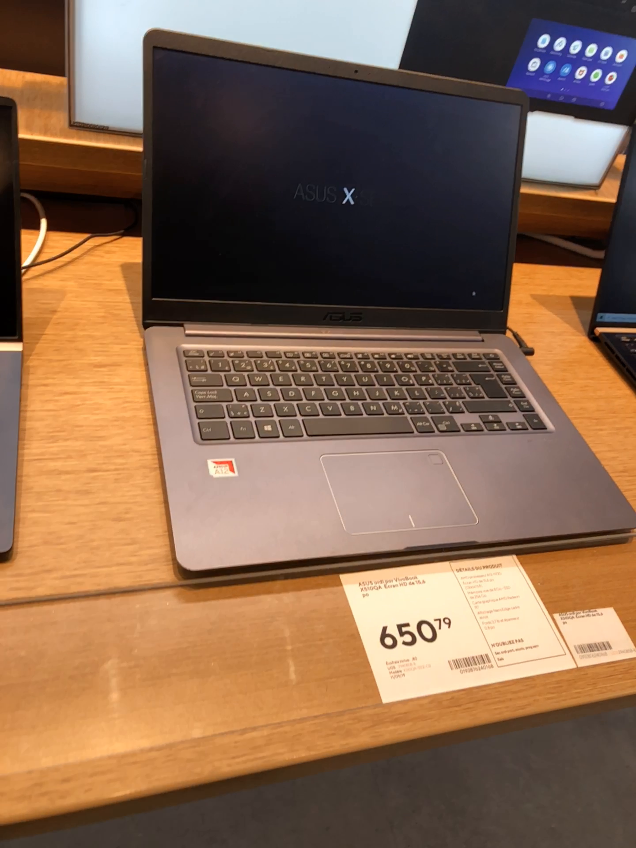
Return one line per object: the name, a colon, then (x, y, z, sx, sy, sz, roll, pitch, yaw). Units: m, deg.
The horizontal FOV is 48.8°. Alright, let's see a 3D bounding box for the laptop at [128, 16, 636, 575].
laptop: (0.055, -0.119, 0.543, 0.353, 0.177, 0.391, -1, 46, -21)
